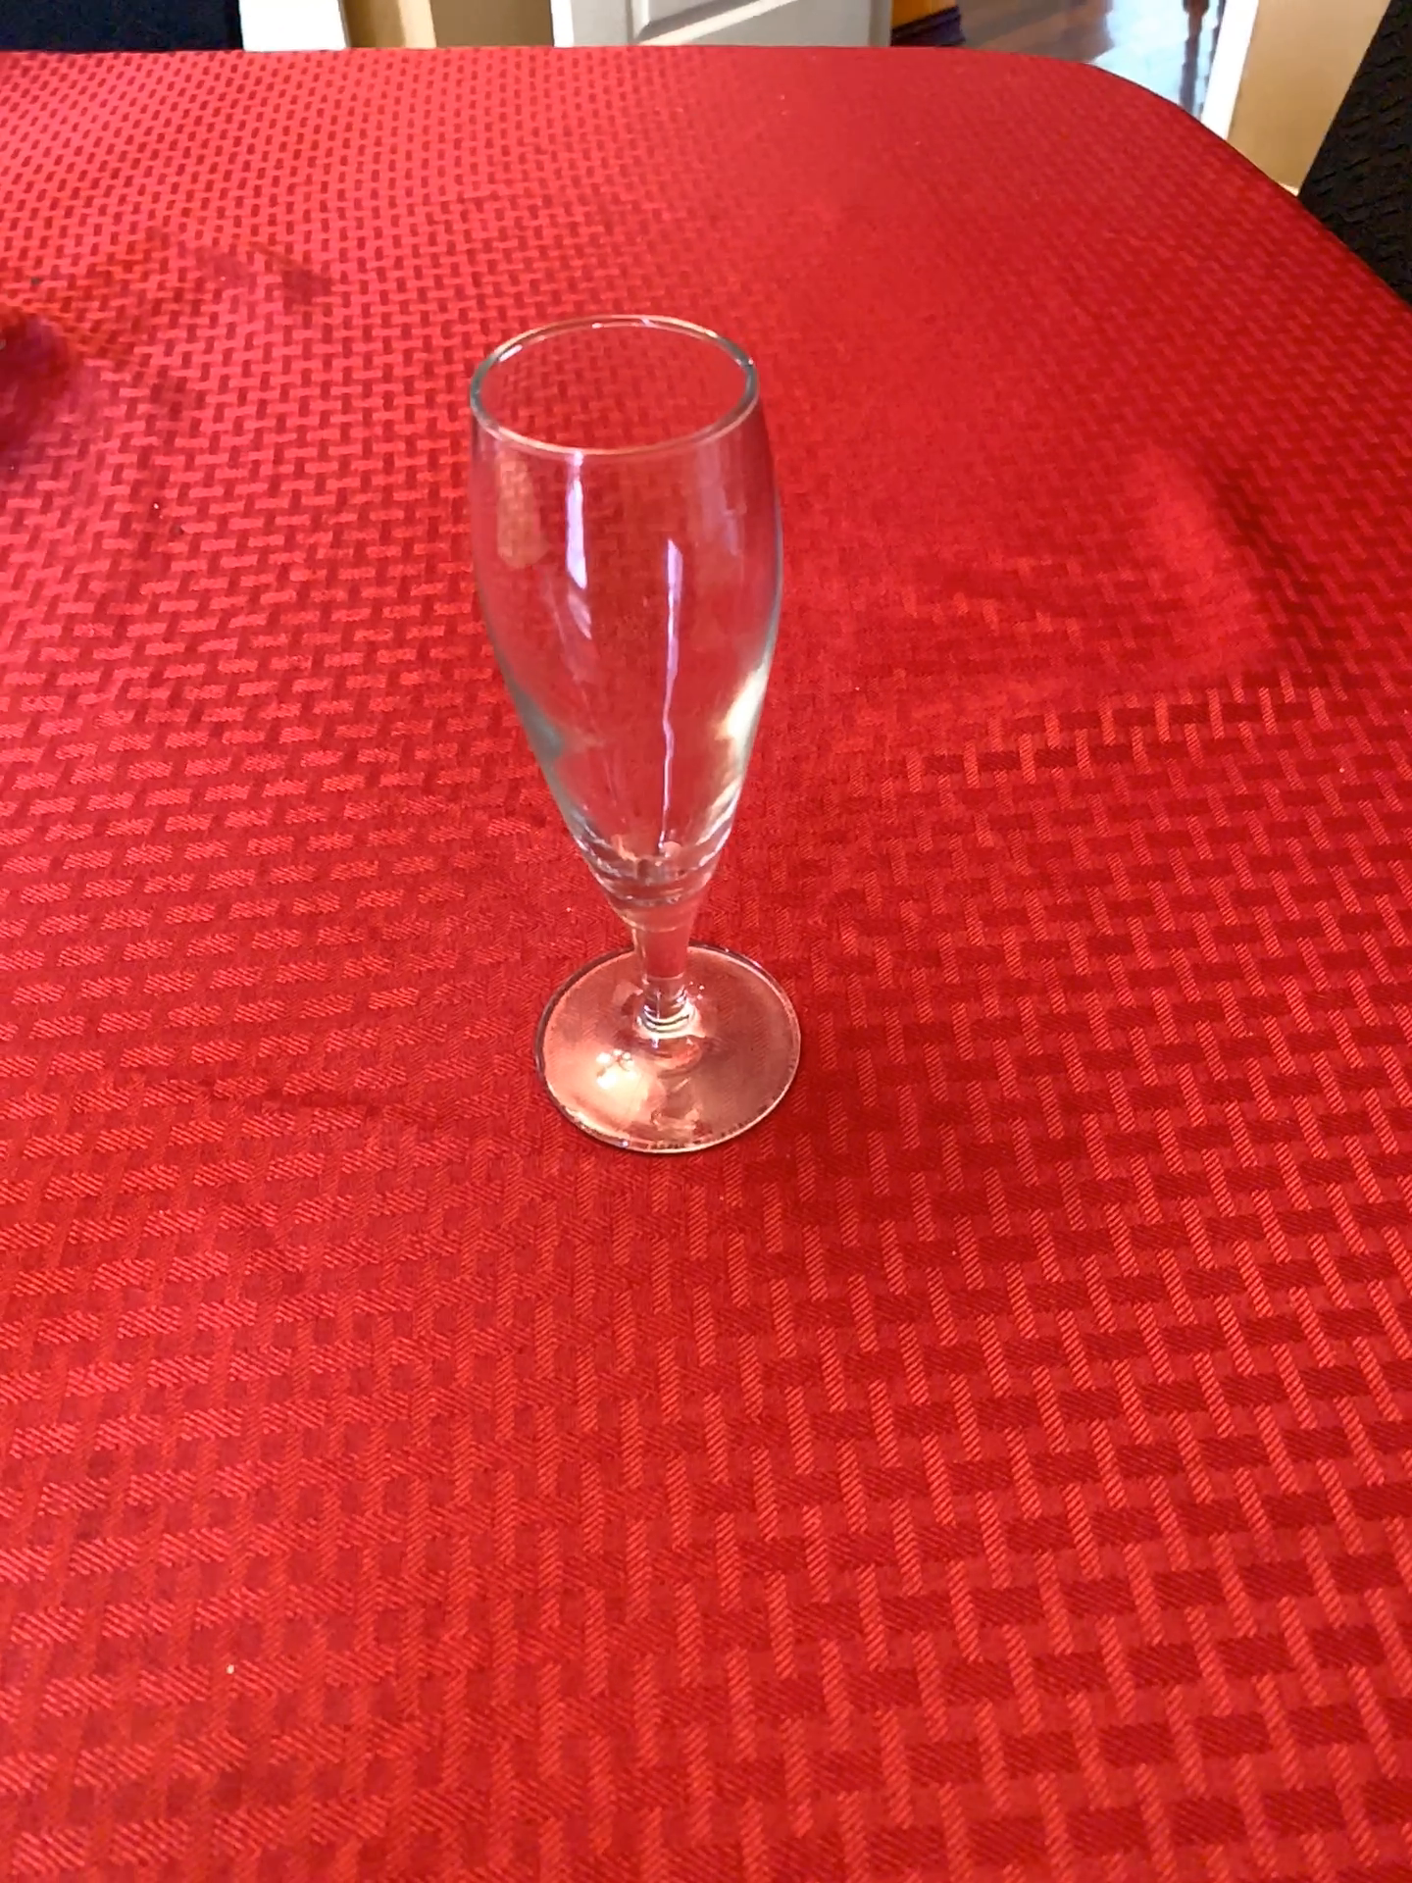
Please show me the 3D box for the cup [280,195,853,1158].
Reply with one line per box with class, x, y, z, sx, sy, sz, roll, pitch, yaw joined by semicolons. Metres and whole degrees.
cup;-0.016;-0.041;0.295;0.080;0.179;0.080;-1;49;1
